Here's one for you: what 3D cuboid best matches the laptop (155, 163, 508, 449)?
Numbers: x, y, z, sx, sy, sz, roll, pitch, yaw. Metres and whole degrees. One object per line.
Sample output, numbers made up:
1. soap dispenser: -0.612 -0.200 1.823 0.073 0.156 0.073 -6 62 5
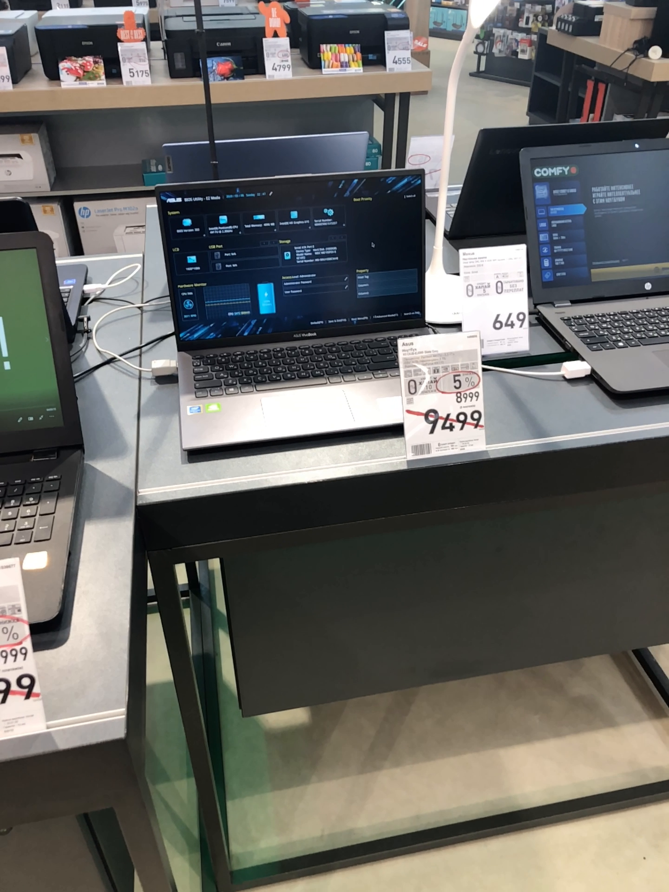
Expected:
1. laptop: -0.025 -0.185 0.900 0.355 0.200 0.288 -7 38 -7
